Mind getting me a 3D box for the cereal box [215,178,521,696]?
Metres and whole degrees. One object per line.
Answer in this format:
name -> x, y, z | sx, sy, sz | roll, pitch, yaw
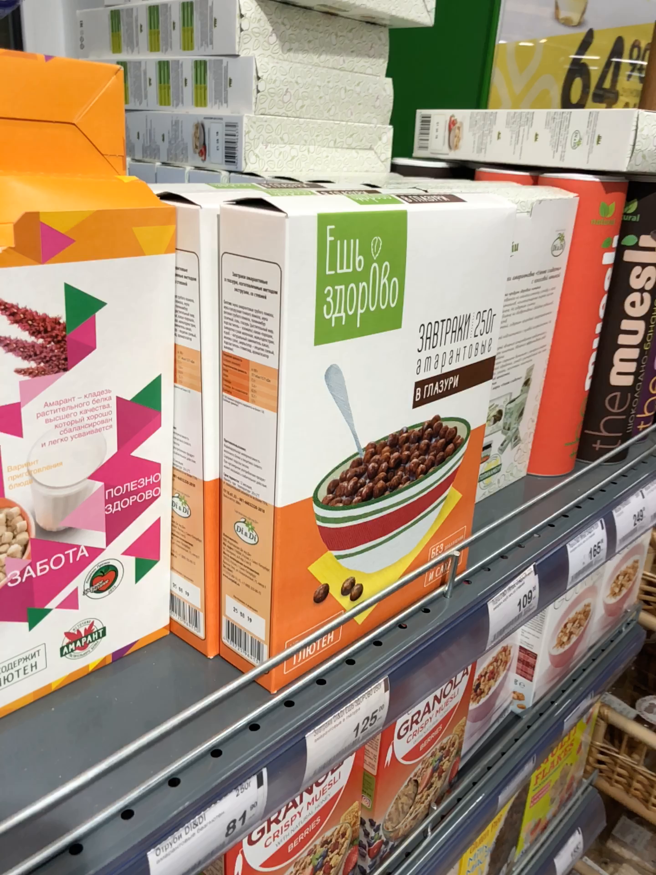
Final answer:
cereal box -> 0.025, -0.012, 0.422 | 0.050, 0.259, 0.191 | 21, 28, 38
